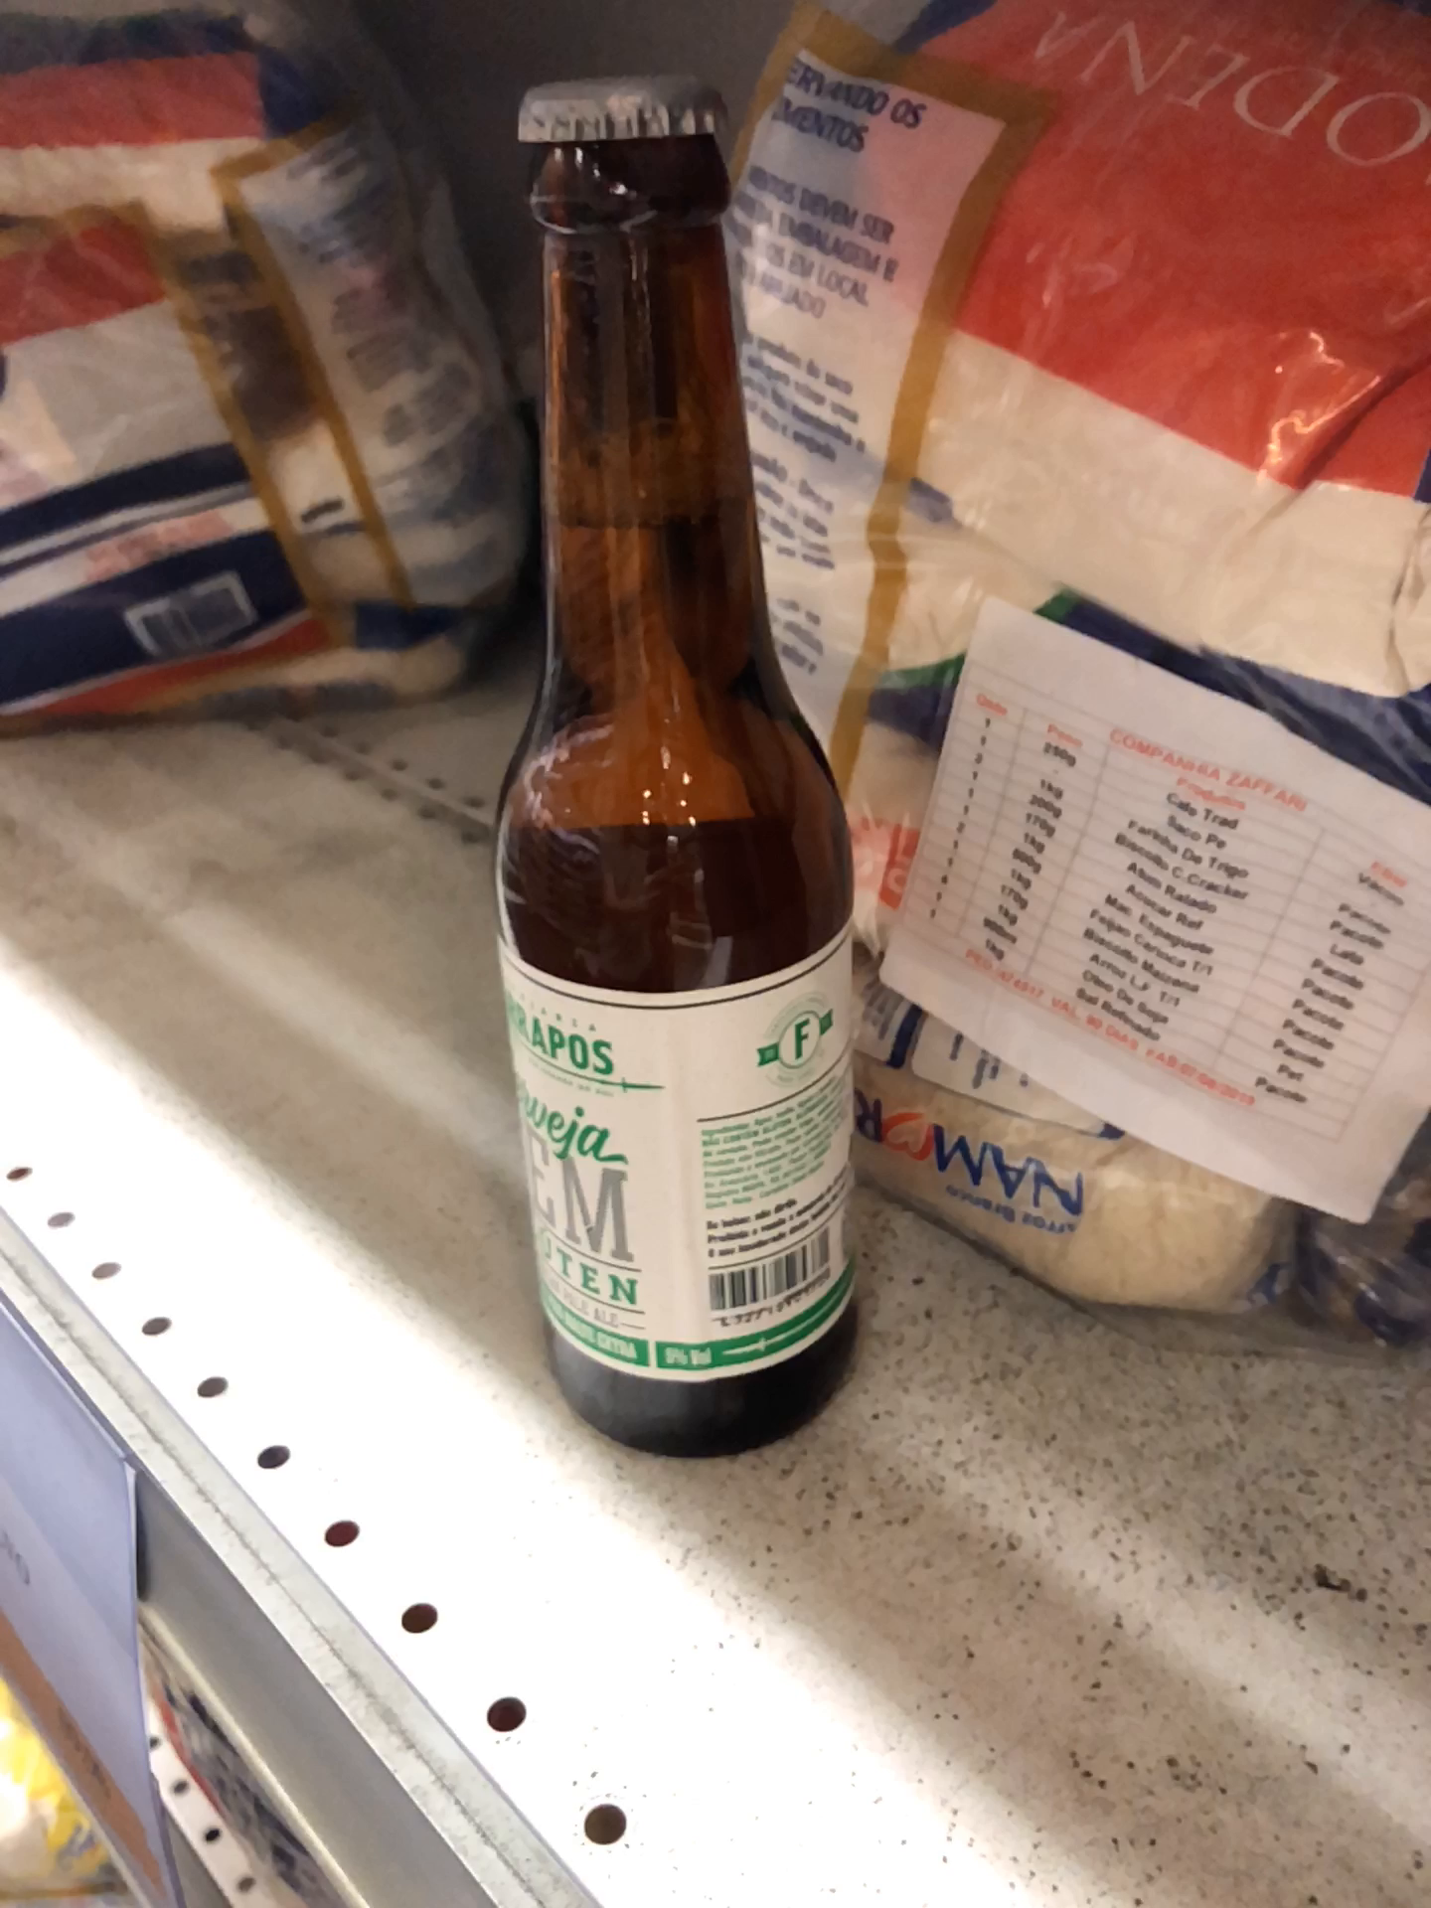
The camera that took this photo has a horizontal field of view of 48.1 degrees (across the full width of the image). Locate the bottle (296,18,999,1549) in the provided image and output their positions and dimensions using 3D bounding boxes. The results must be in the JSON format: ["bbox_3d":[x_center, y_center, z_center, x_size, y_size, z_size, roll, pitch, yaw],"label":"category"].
[{"bbox_3d":[-0.004,-0.019,0.263,0.060,0.228,0.070,-26,36,-33],"label":"bottle"}]
